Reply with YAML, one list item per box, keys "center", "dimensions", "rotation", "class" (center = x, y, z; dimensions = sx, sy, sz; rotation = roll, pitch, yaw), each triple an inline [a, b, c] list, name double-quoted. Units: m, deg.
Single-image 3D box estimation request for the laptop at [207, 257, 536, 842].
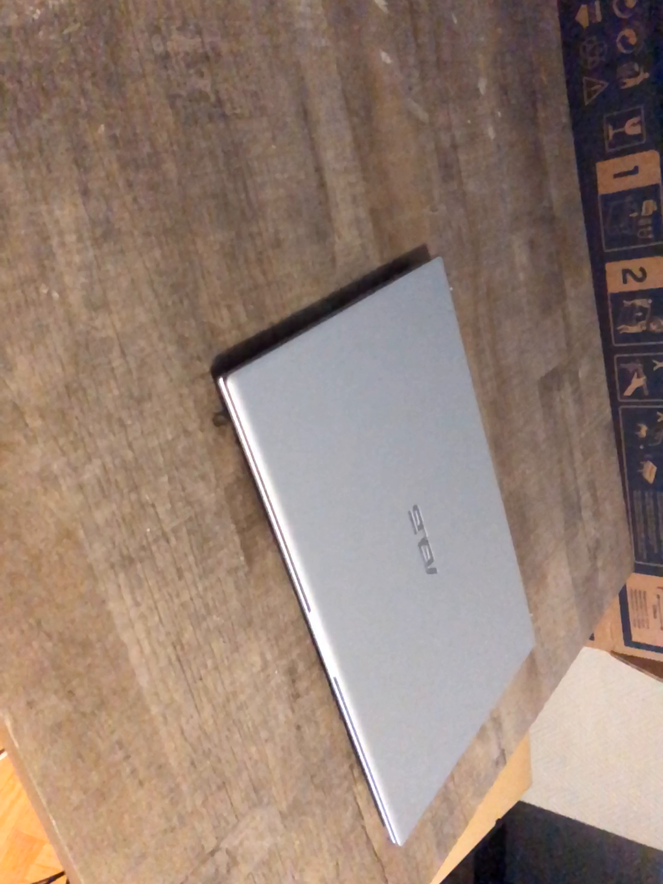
- center: [0.060, 0.072, 0.525]
  dimensions: [0.229, 0.013, 0.354]
  rotation: [-38, 118, -41]
  class: "laptop"
